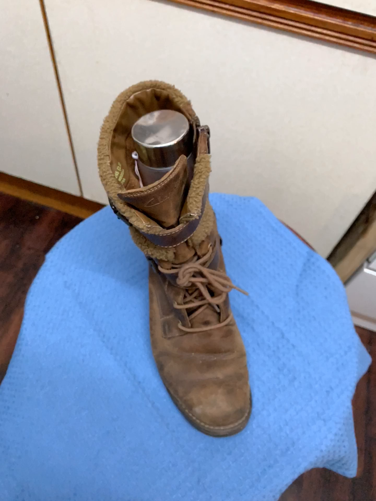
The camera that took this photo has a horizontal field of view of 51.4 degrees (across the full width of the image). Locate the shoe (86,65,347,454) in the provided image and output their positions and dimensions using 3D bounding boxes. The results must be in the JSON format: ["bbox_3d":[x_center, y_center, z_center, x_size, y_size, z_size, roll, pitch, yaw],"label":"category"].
[{"bbox_3d":[0.002,0.022,0.349,0.120,0.228,0.252,-9,58,-3],"label":"shoe"}]
